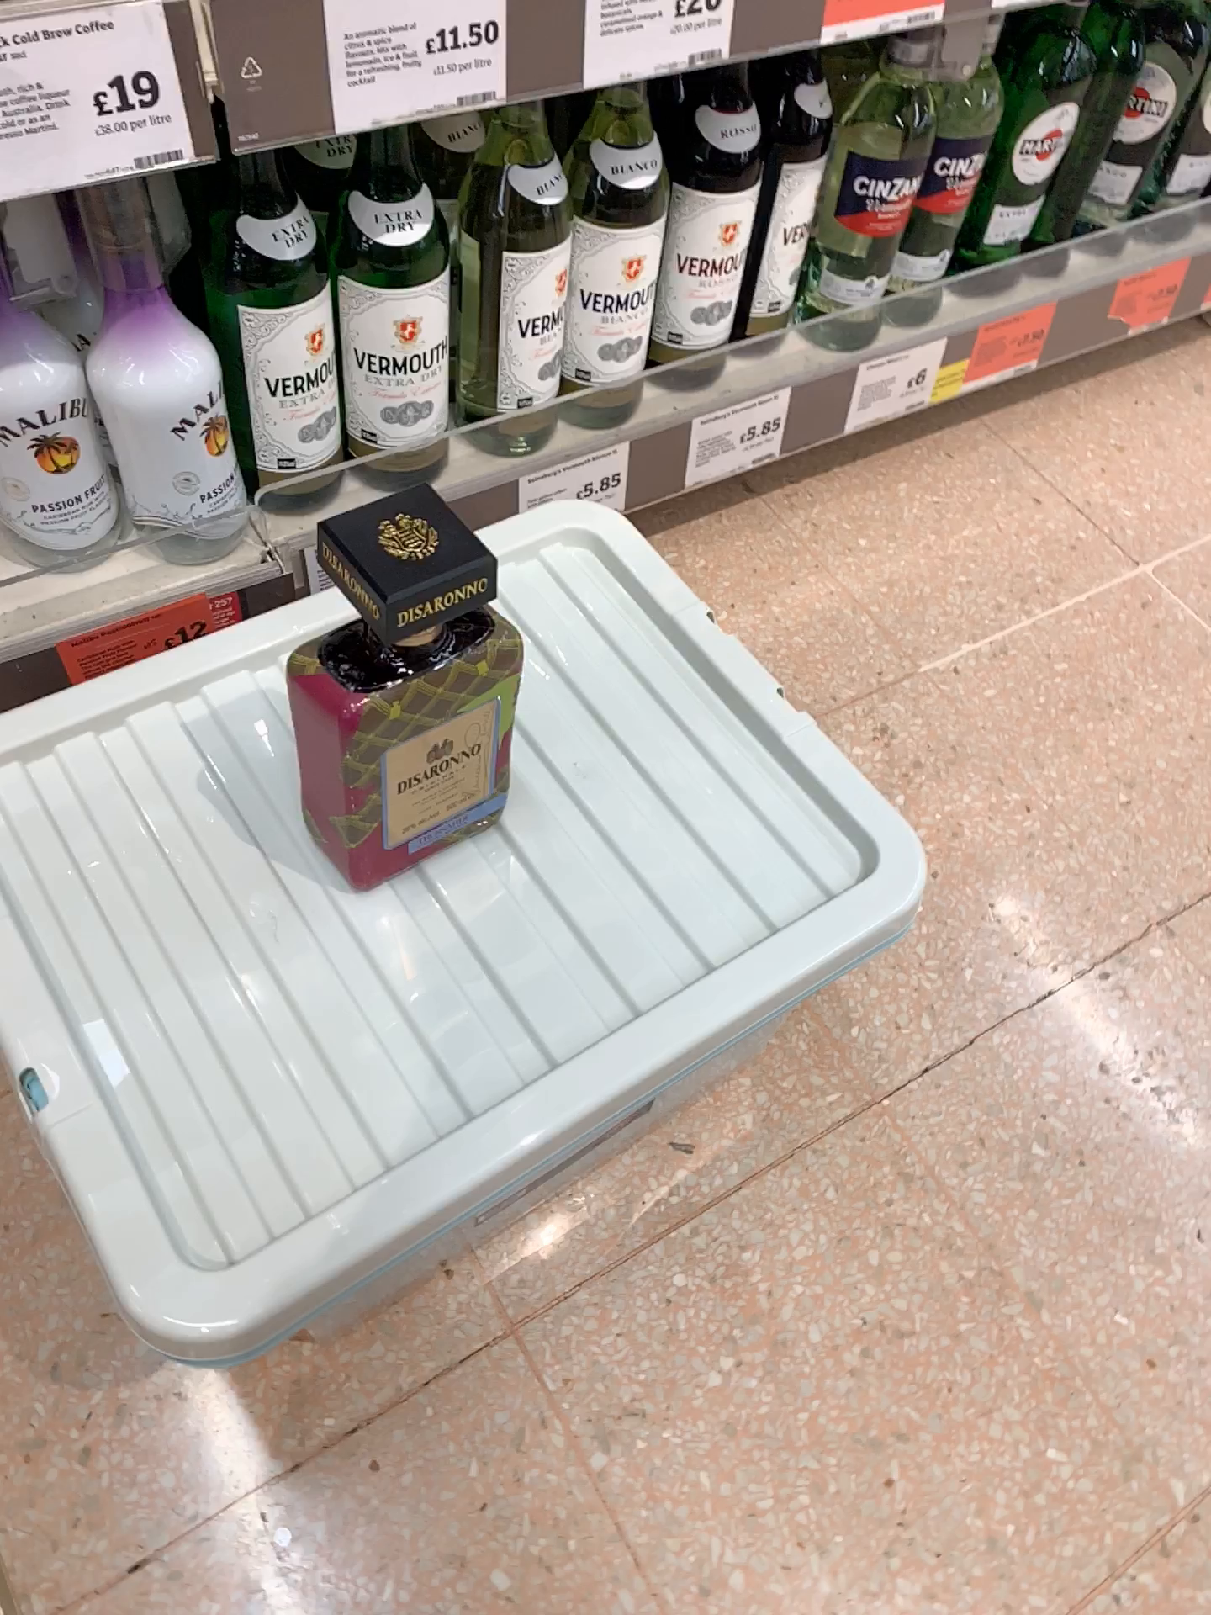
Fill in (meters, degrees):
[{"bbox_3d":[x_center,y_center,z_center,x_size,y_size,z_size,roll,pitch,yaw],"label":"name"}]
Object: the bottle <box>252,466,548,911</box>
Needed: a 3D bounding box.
[{"bbox_3d":[-0.092,-0.047,0.575,0.100,0.199,0.060,-29,64,-24],"label":"bottle"}]
